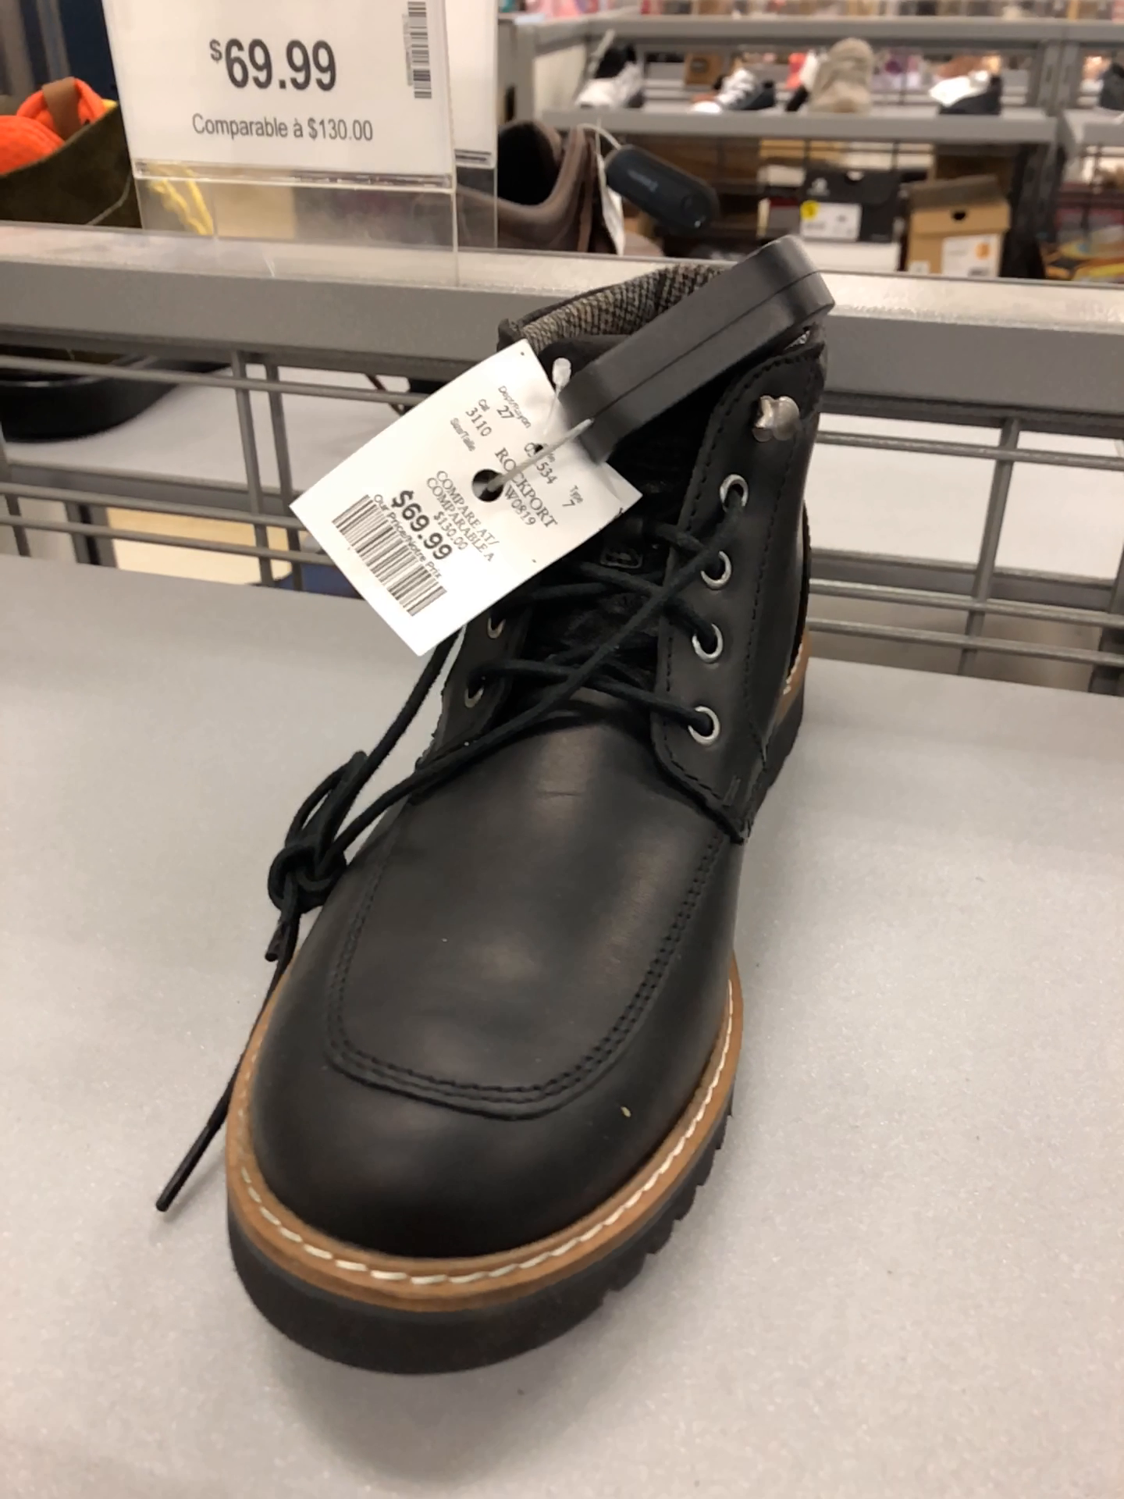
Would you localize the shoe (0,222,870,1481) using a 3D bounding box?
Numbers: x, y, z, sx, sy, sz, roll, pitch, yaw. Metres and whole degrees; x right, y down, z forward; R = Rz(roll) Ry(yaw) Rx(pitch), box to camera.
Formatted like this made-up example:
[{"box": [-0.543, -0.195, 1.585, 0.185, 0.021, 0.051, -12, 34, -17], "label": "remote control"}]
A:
[{"box": [-0.004, -0.017, 0.302, 0.120, 0.139, 0.282, 8, 37, 13], "label": "shoe"}]
